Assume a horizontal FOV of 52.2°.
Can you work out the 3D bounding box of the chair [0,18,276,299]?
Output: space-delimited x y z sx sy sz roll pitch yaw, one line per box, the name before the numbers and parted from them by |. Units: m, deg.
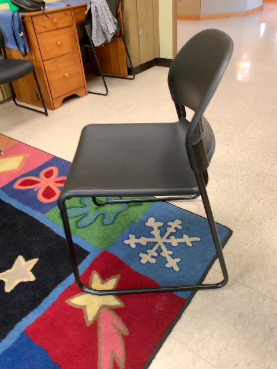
chair | -0.006 -0.096 0.980 0.630 0.735 0.614 -2 36 4
